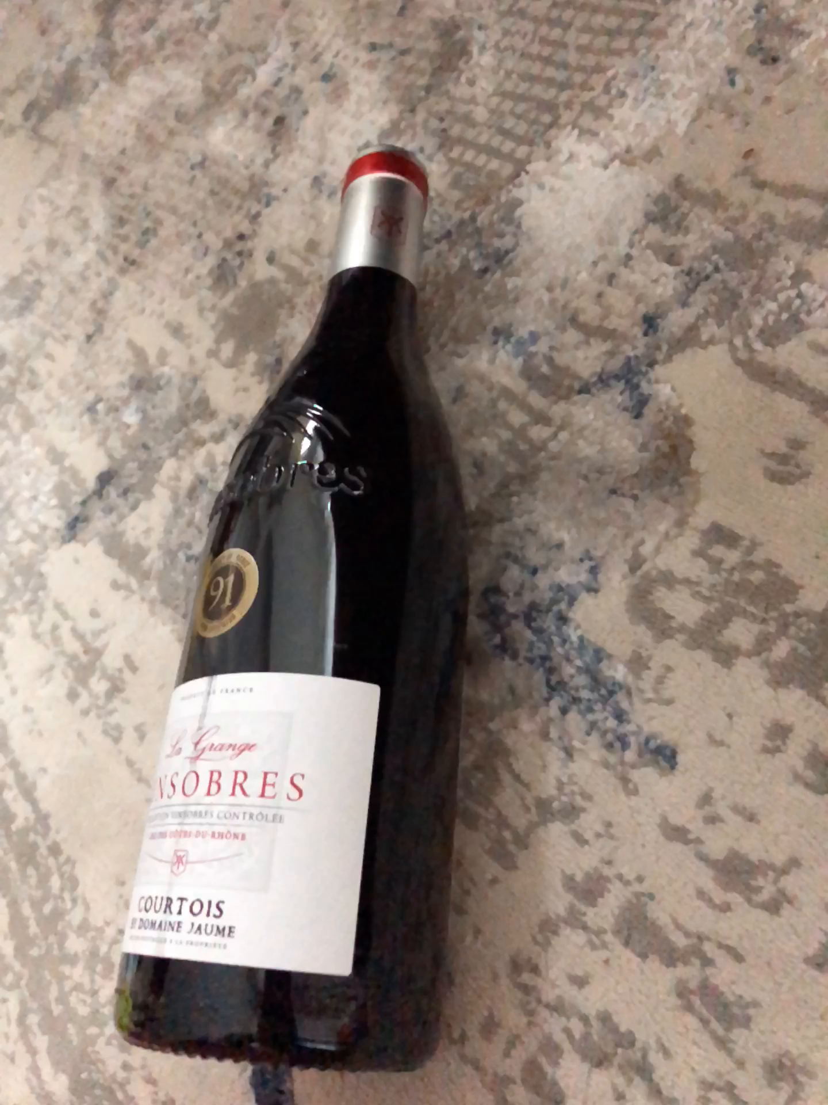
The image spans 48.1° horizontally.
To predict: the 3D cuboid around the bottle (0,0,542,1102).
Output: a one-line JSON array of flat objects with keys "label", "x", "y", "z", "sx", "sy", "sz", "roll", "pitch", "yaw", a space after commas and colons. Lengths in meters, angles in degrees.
[{"label": "bottle", "x": -0.028, "y": -0.015, "z": 0.284, "sx": 0.090, "sy": 0.100, "sz": 0.300, "roll": -11, "pitch": 62, "yaw": 32}]
